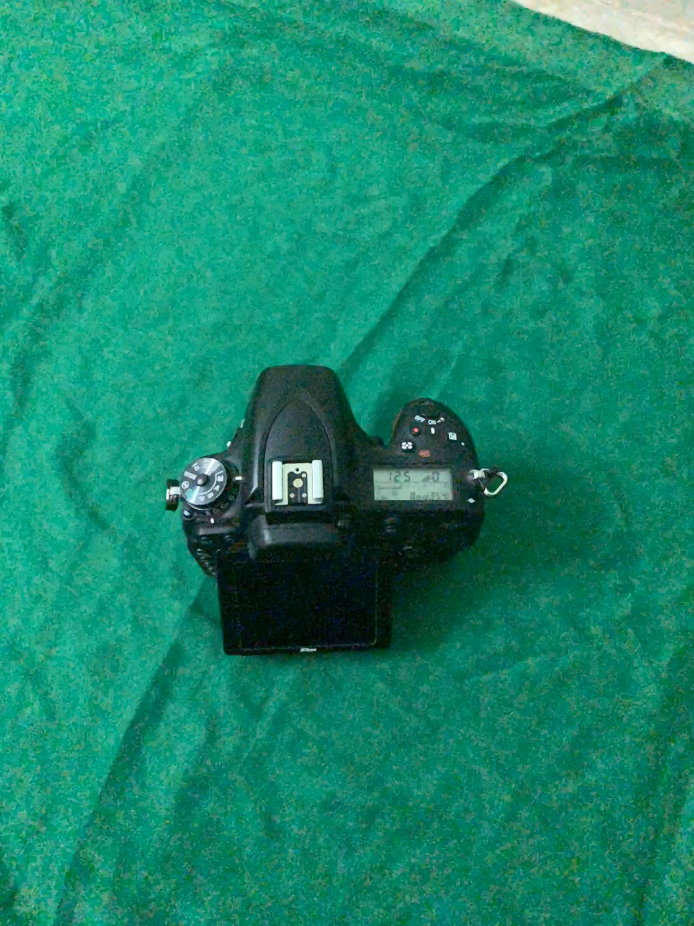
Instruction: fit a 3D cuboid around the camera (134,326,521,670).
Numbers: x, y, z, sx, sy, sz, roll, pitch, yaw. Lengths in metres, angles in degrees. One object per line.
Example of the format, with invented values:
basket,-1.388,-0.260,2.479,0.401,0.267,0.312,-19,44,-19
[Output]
camera,-0.006,0.021,0.332,0.142,0.100,0.128,2,68,0
